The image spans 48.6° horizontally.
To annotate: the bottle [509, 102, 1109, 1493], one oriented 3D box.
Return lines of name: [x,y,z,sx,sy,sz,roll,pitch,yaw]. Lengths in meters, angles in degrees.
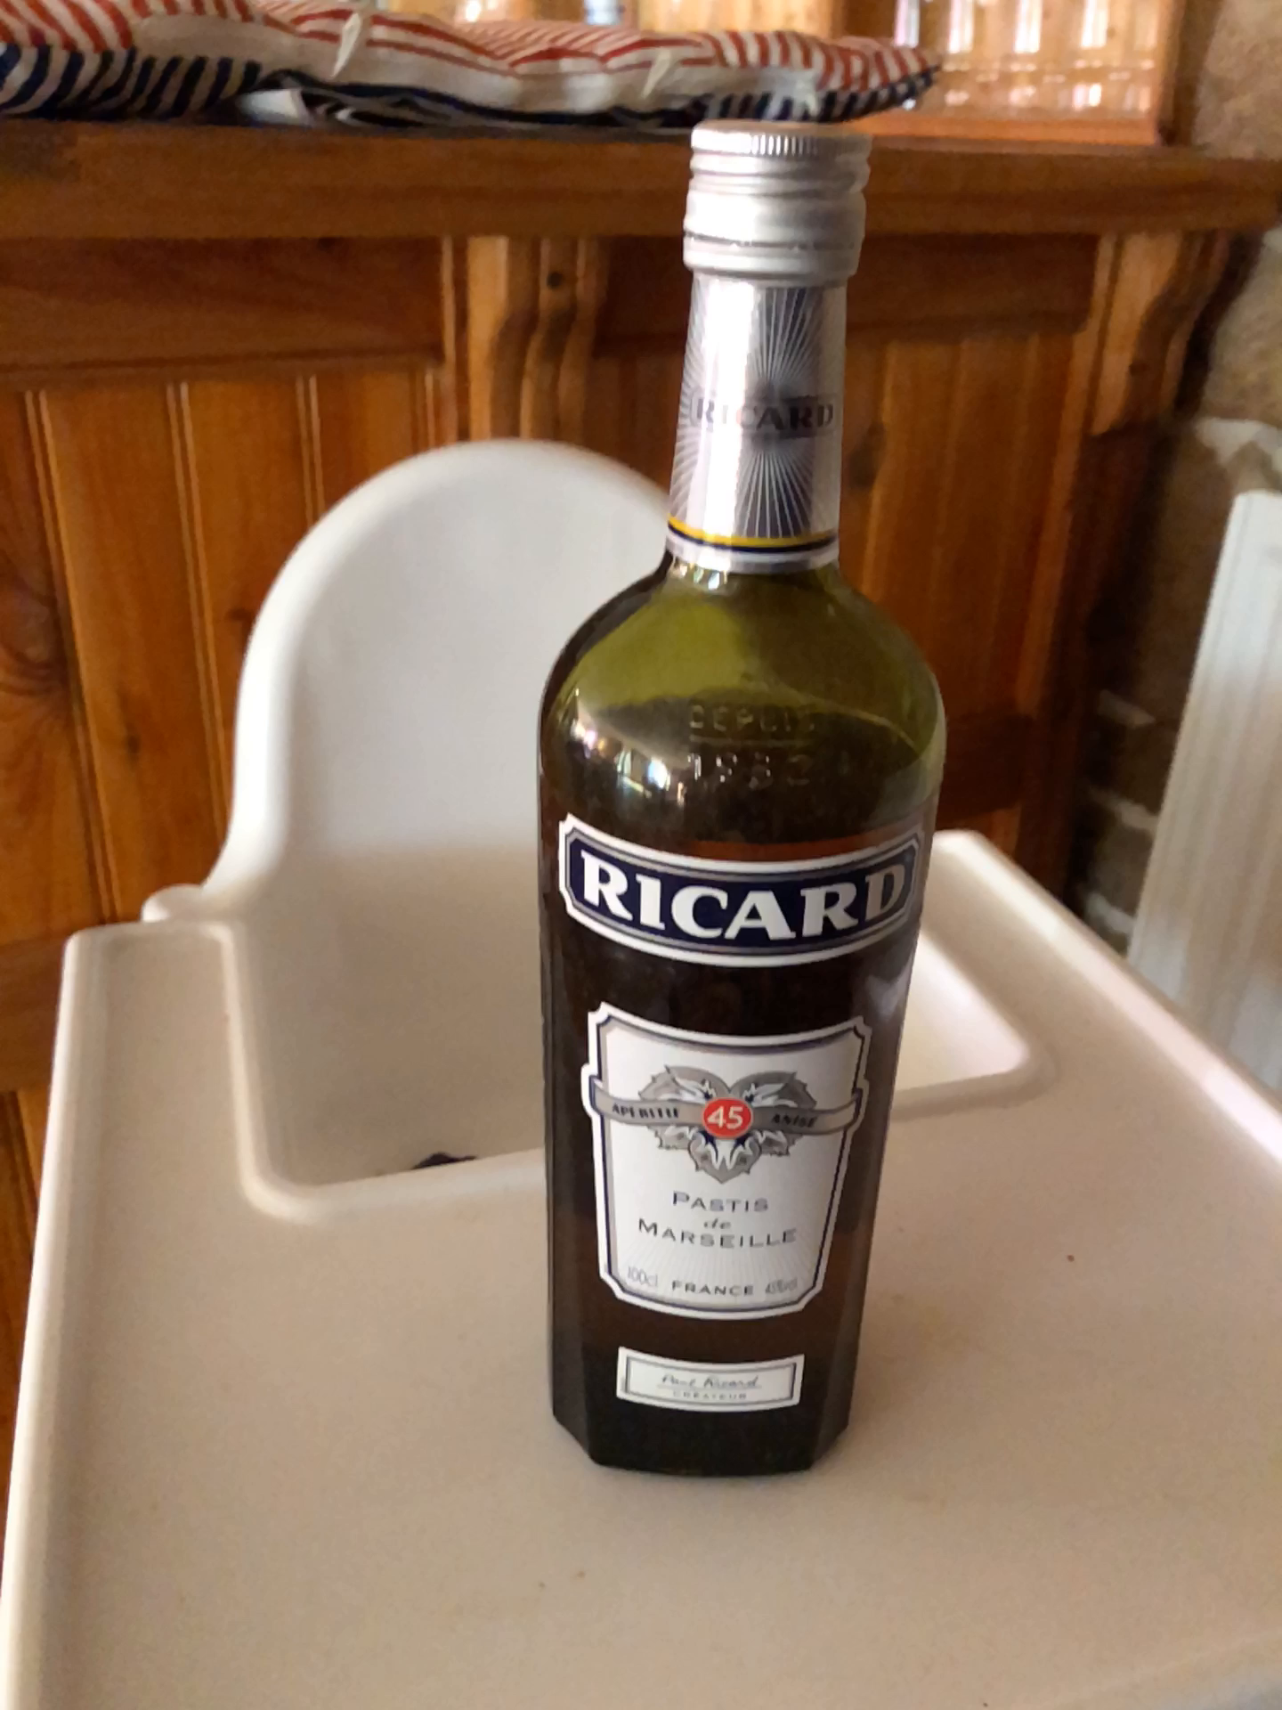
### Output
bottle: [0.021,0.005,0.312,0.090,0.298,0.070,2,27,0]
